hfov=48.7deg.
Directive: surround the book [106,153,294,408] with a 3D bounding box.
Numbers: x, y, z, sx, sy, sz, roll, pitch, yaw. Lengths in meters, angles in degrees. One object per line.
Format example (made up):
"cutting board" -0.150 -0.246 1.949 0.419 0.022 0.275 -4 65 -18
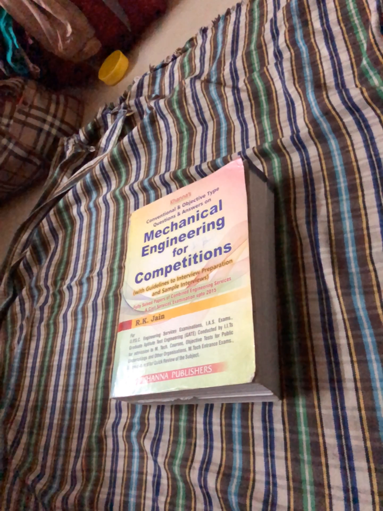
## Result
"book" 0.010 0.040 0.545 0.211 0.077 0.280 -17 56 36
